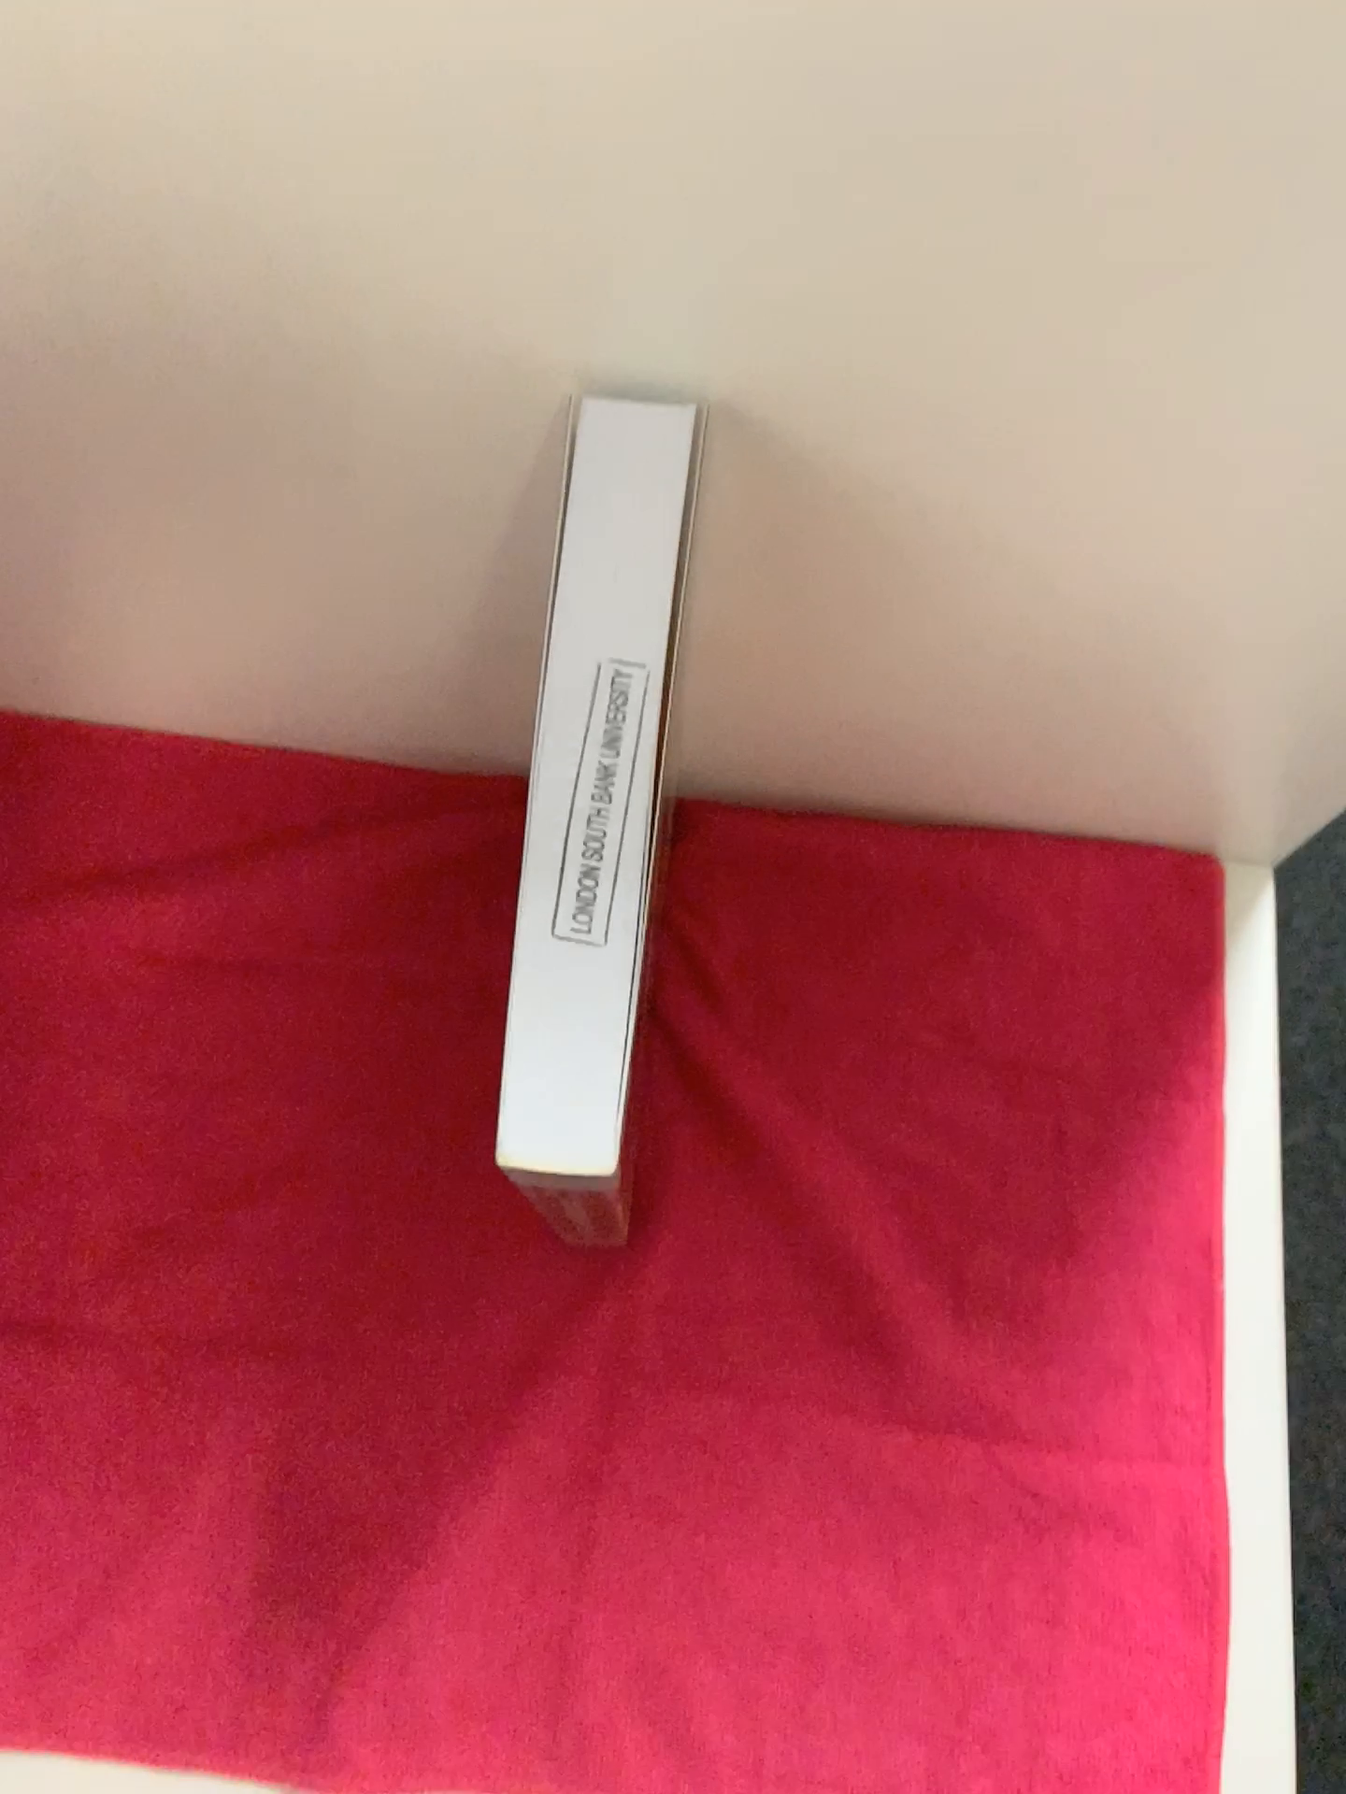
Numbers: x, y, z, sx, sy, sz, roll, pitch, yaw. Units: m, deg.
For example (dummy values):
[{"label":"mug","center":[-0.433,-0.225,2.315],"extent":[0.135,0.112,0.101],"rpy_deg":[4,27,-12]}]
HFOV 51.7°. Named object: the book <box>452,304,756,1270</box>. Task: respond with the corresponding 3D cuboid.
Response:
[{"label":"book","center":[-0.013,-0.001,0.395],"extent":[0.040,0.249,0.191],"rpy_deg":[5,72,1]}]
